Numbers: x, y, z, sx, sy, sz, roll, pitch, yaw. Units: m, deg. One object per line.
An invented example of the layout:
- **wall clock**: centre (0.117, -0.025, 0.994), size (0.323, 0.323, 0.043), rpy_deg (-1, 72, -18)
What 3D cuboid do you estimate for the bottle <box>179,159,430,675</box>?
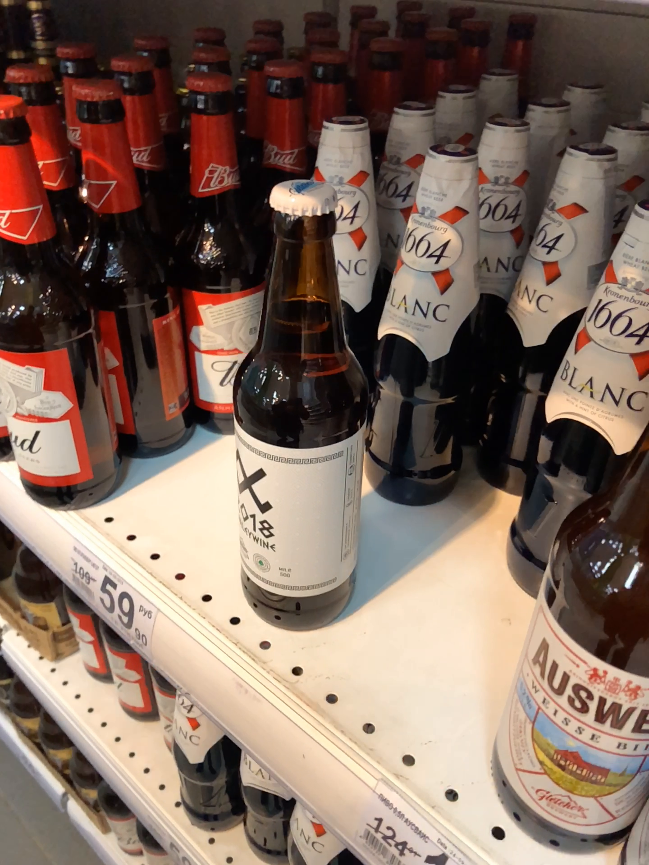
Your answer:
- **bottle**: centre (-0.010, 0.003, 0.372), size (0.070, 0.251, 0.080), rpy_deg (-26, 43, -32)
